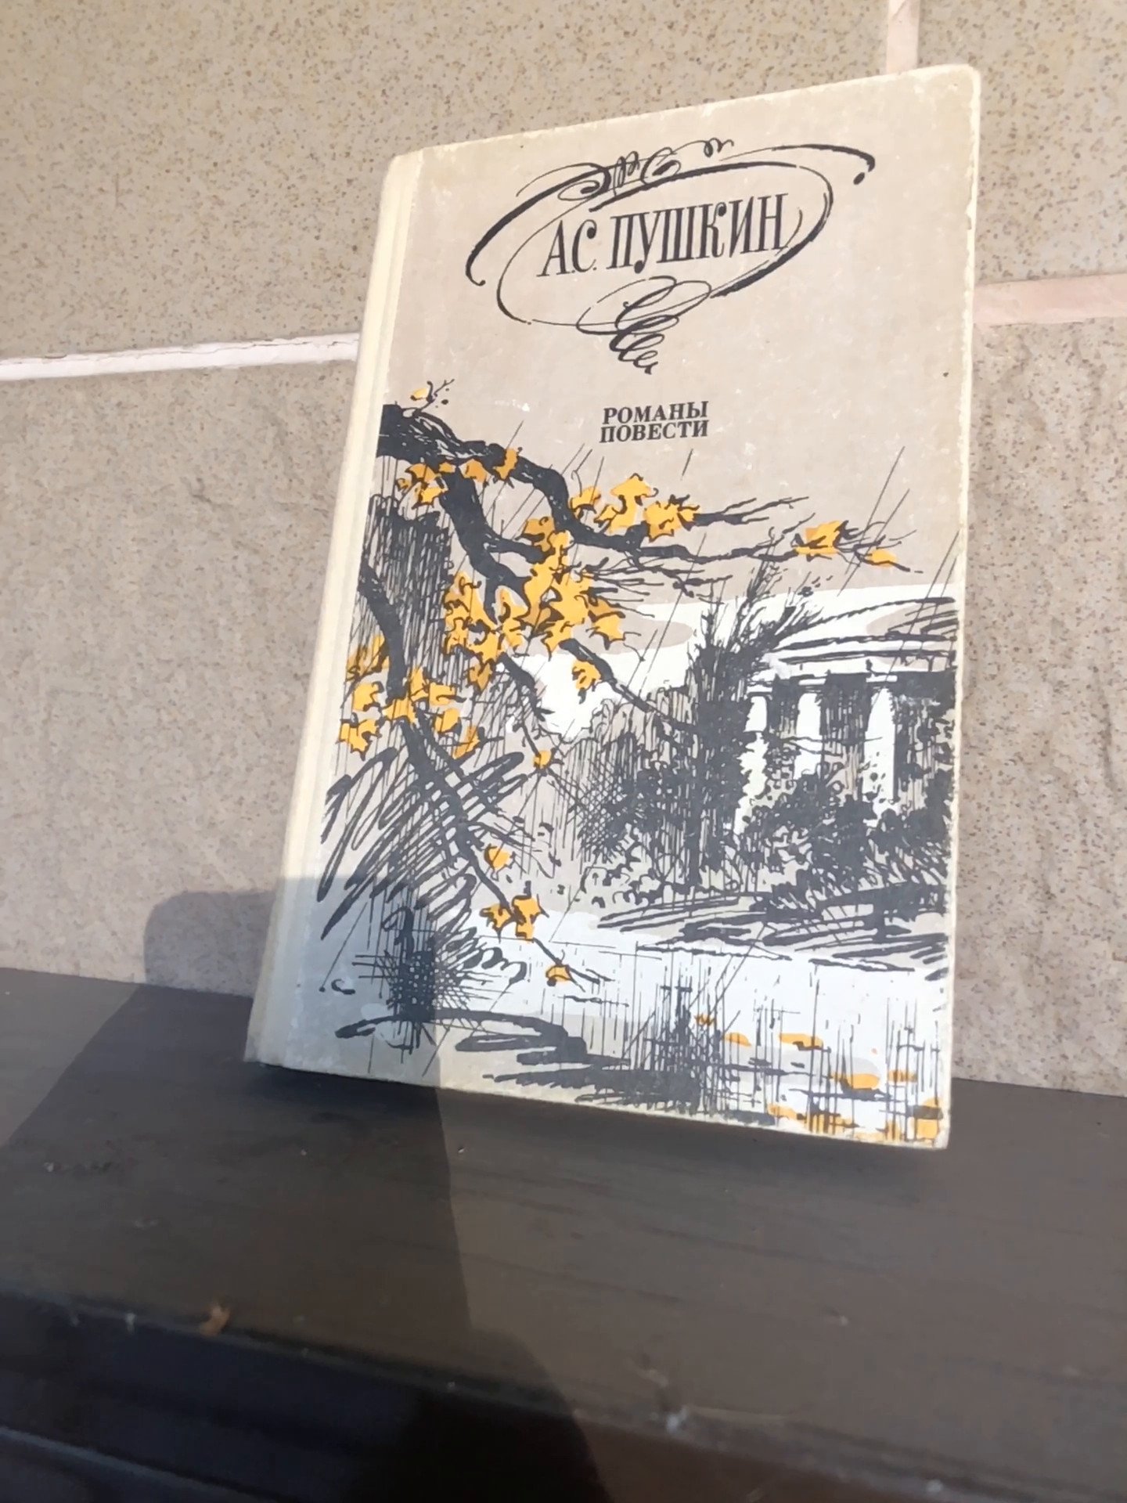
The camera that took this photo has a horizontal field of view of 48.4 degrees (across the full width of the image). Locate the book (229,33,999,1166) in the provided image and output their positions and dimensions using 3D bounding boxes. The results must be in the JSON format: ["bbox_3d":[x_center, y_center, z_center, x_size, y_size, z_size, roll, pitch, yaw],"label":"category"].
[{"bbox_3d":[0.016,-0.033,0.246,0.125,0.198,0.040,2,-13,20],"label":"book"}]
